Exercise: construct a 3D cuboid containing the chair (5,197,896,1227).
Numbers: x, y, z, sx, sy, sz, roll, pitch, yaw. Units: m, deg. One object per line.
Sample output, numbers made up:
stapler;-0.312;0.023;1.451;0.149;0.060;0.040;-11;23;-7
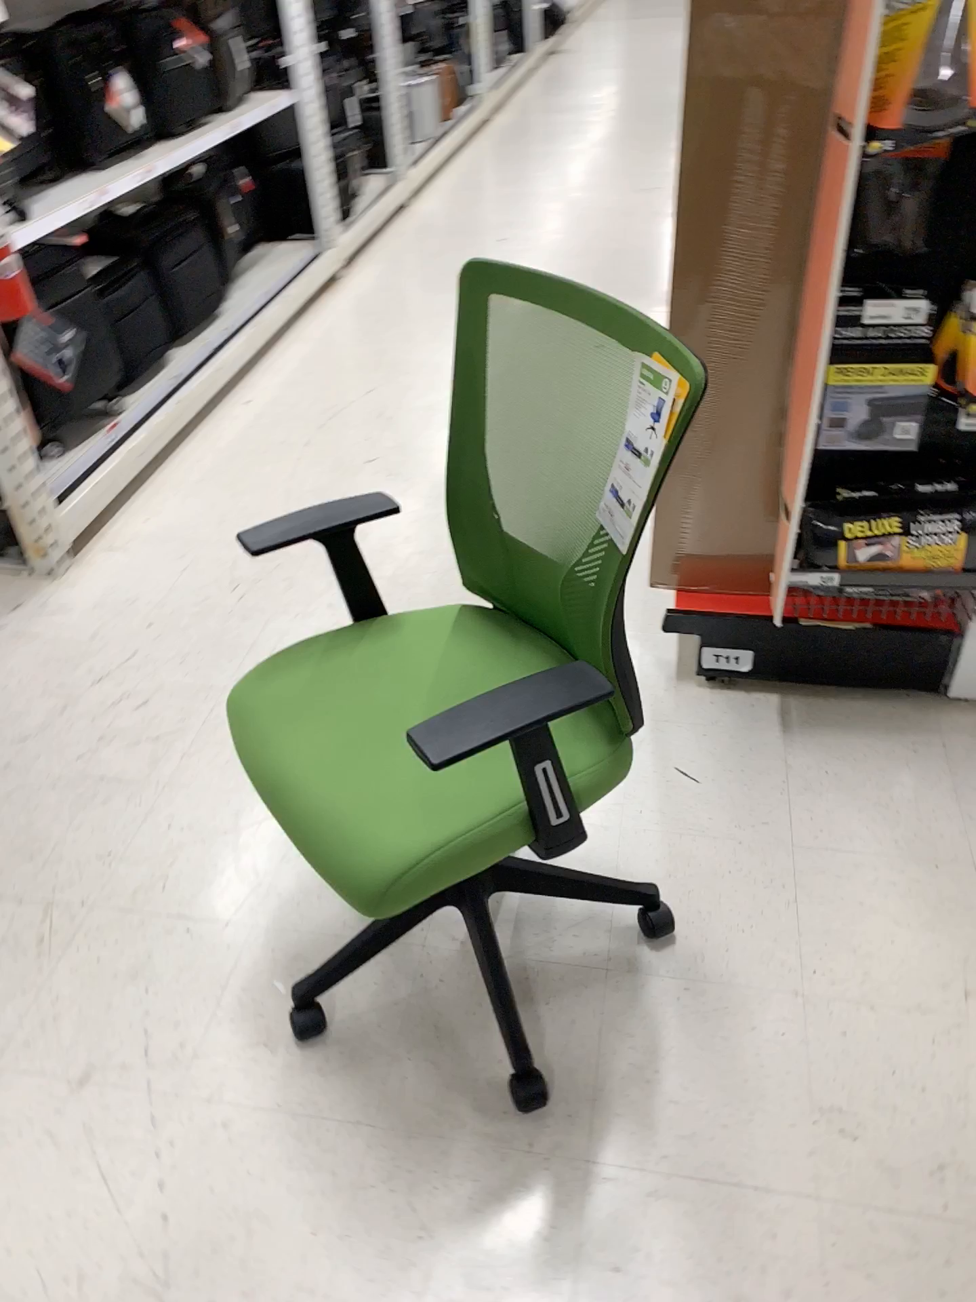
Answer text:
chair;-0.054;0.047;1.322;0.670;0.995;0.673;-24;41;-24
